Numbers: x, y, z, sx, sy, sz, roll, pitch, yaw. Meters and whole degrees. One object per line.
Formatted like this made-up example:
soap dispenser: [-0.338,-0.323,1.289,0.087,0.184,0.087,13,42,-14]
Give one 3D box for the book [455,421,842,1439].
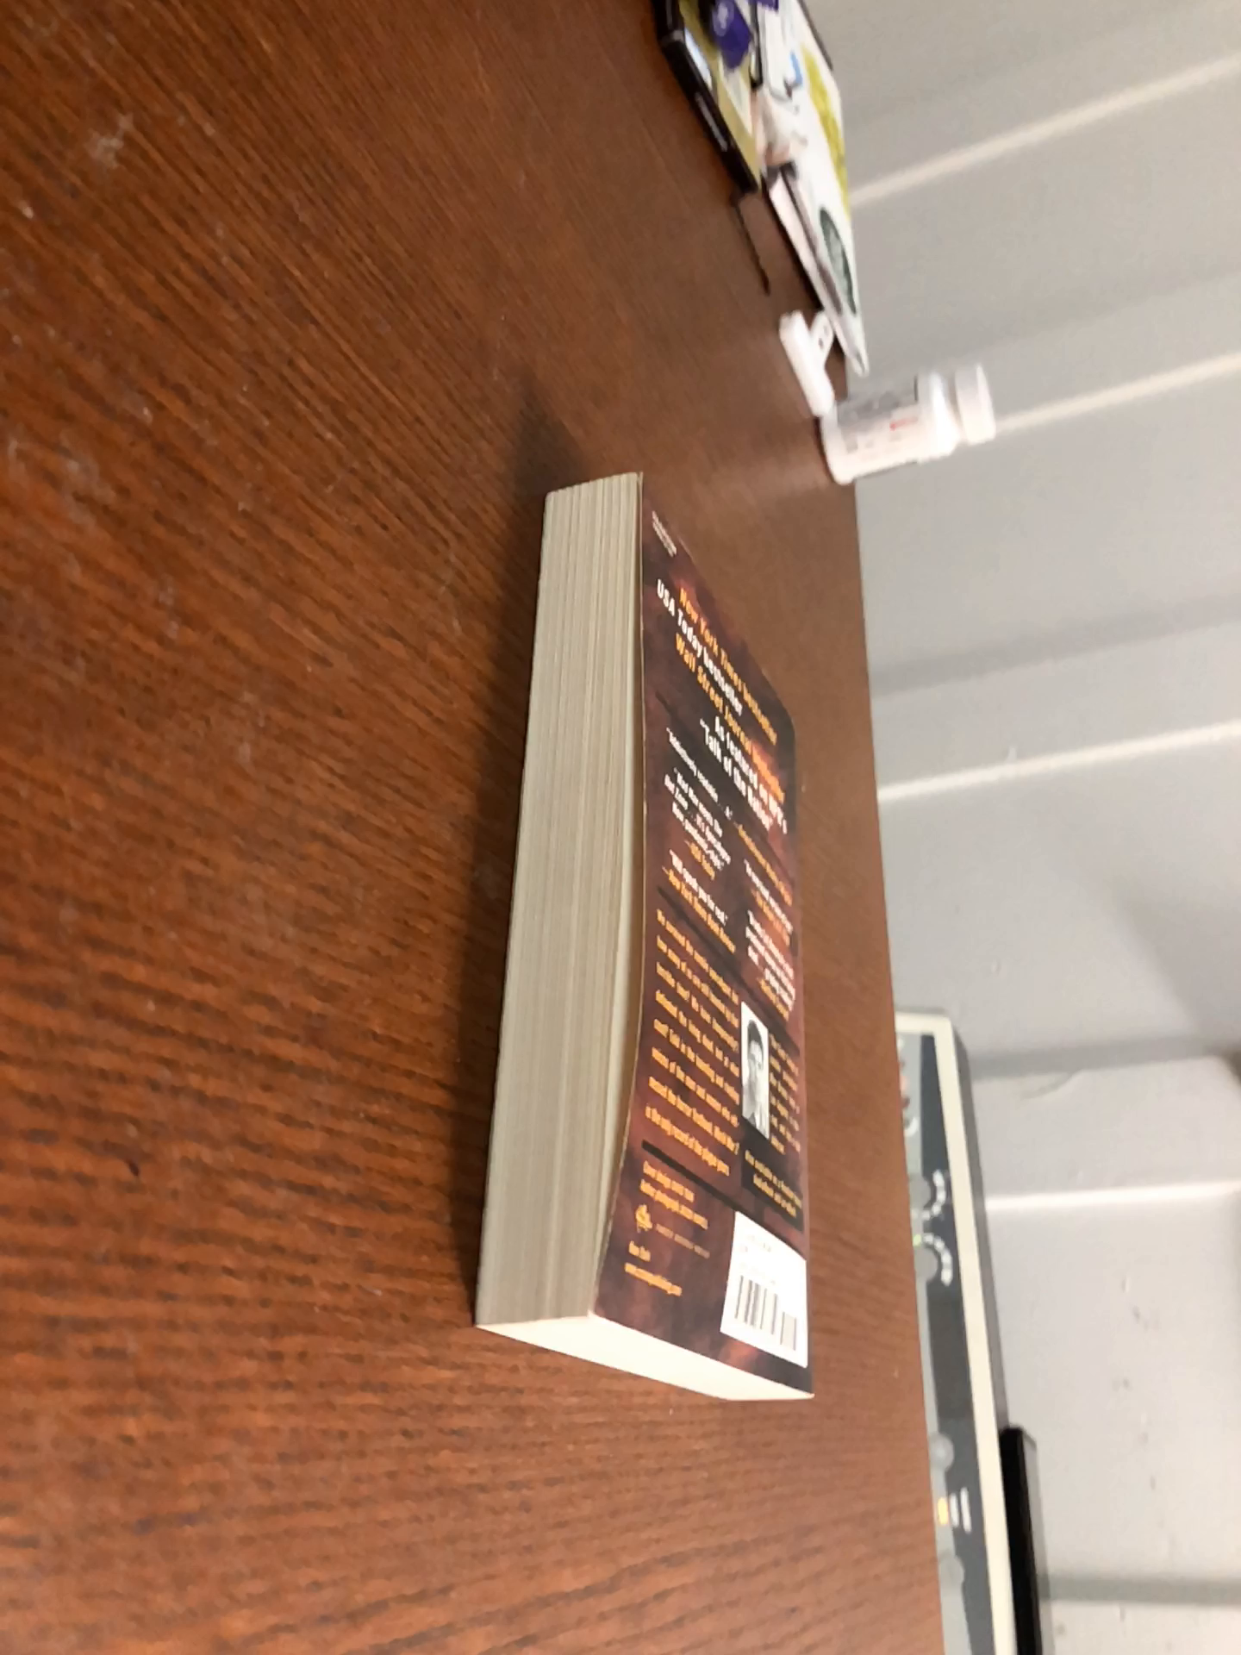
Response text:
book: [0.019,0.029,0.352,0.140,0.030,0.220,48,38,-51]
